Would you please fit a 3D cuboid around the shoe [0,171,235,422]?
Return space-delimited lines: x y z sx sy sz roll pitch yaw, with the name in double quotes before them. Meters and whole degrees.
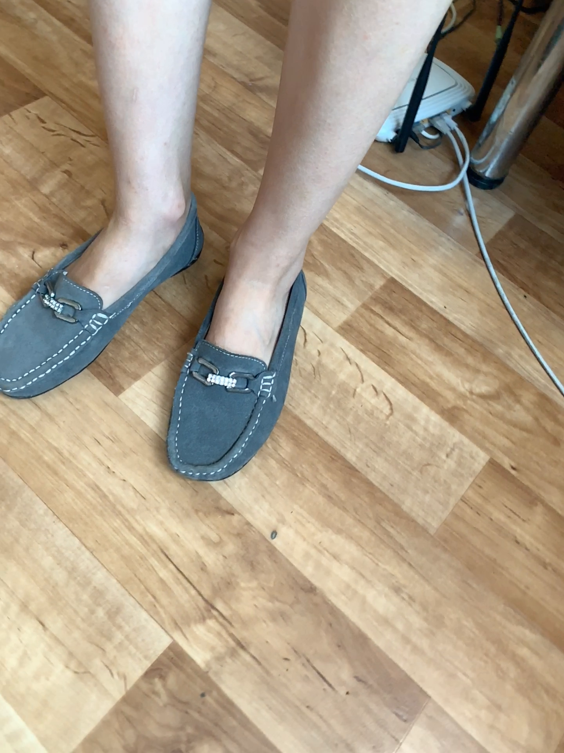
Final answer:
"shoe" -0.157 -0.080 0.514 0.090 0.060 0.240 37 61 15

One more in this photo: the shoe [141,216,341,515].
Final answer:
"shoe" -0.027 -0.018 0.494 0.100 0.060 0.241 17 59 -1
